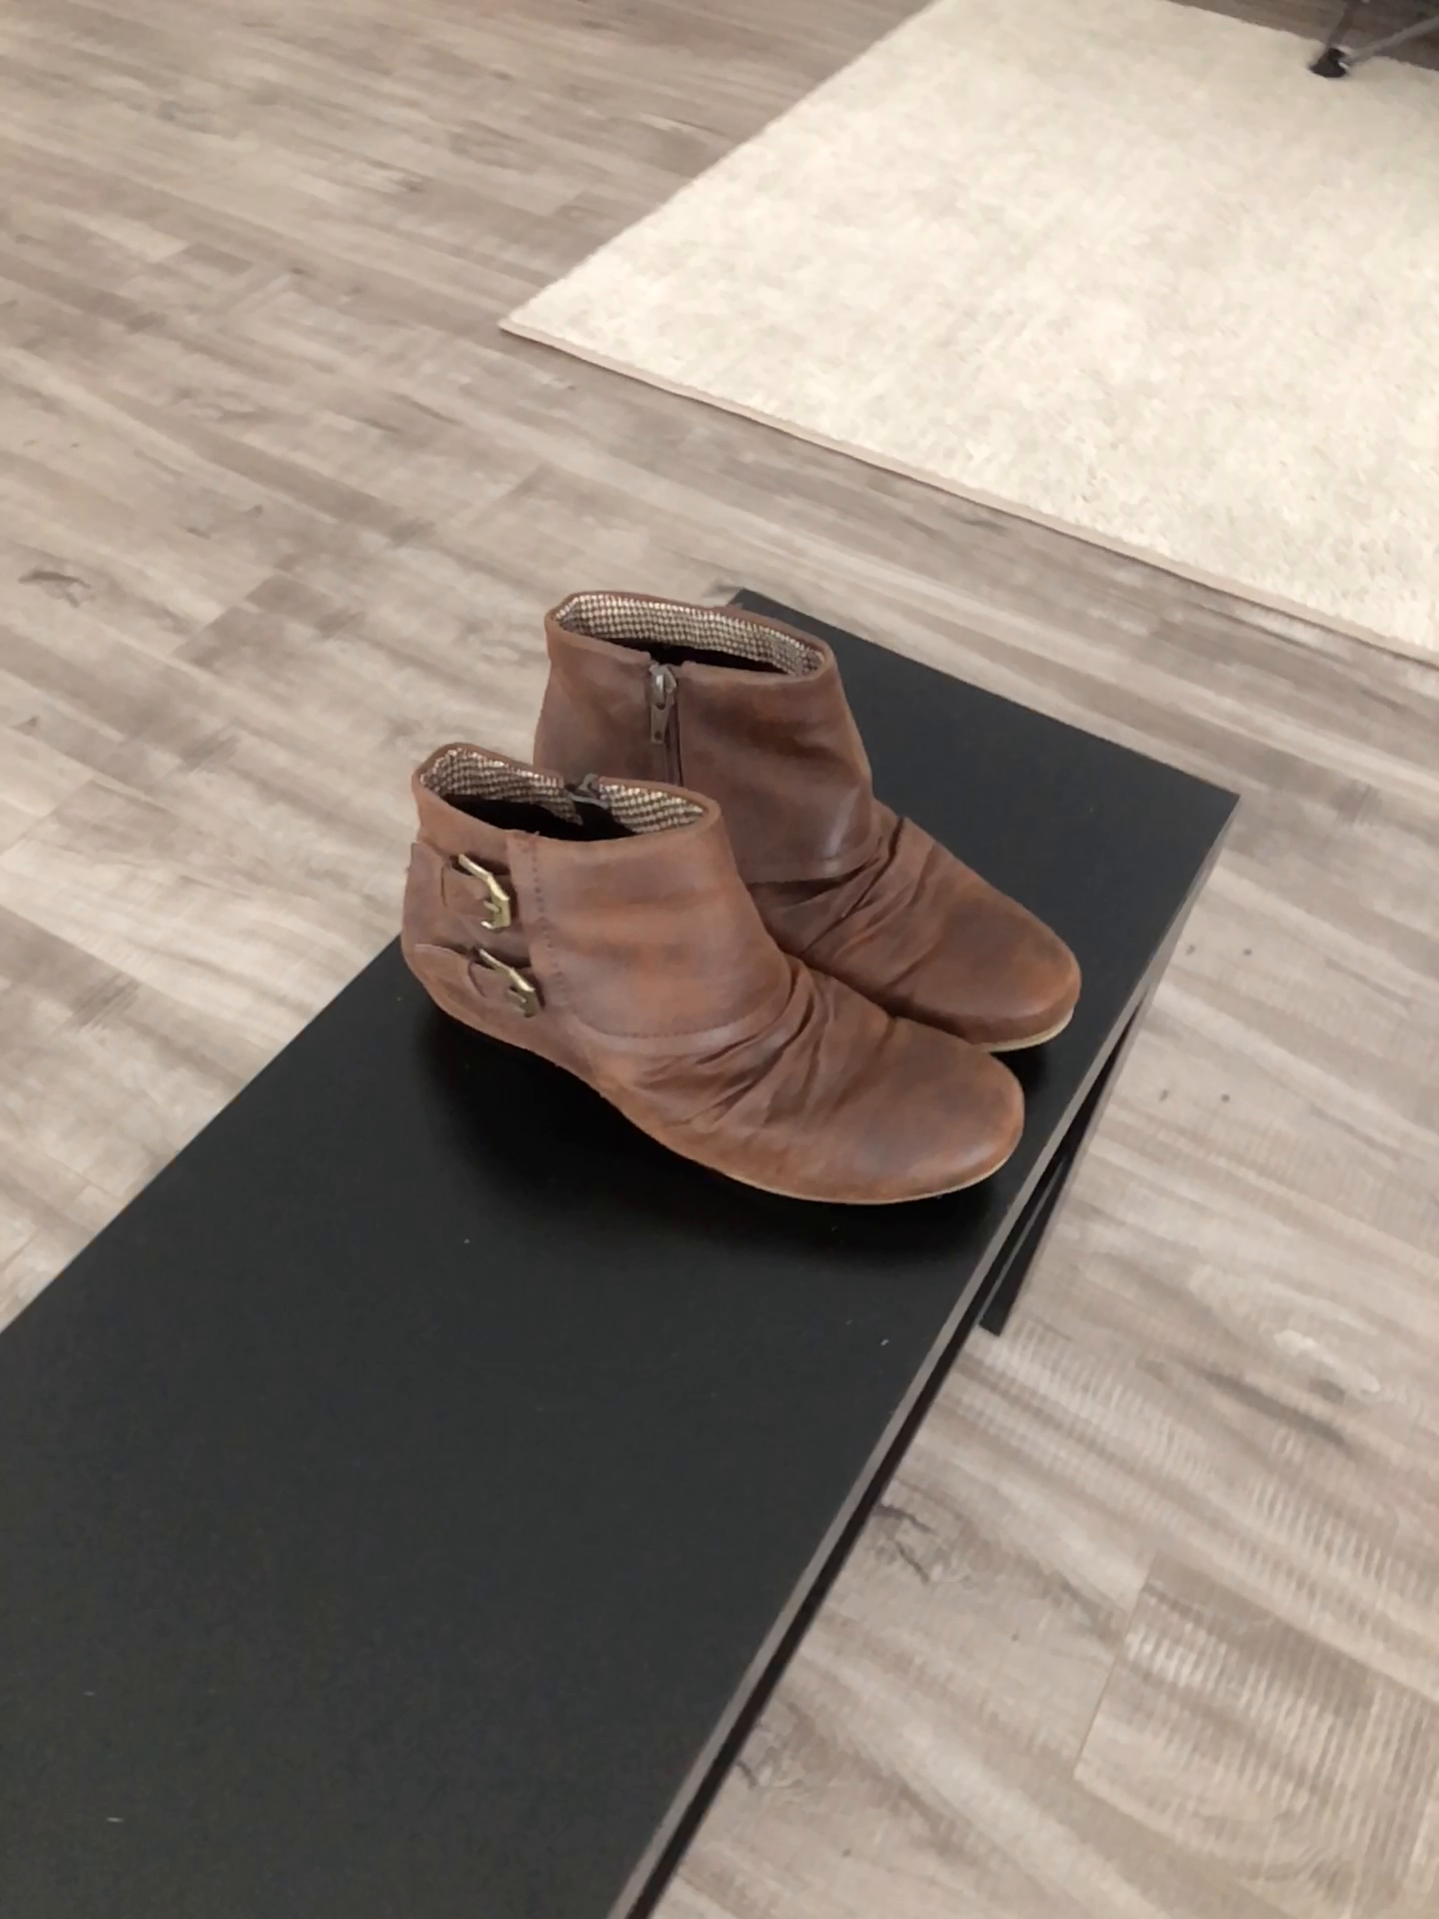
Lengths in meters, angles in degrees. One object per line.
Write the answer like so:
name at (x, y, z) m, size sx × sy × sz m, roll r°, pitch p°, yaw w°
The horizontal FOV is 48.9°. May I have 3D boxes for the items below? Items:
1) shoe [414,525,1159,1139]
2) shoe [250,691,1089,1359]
shoe at (0.018, -0.051, 0.580) m, size 0.240 × 0.110 × 0.090 m, roll 26°, pitch 53°, yaw 17°
shoe at (-0.018, 0.021, 0.532) m, size 0.240 × 0.130 × 0.090 m, roll 19°, pitch 52°, yaw 13°
